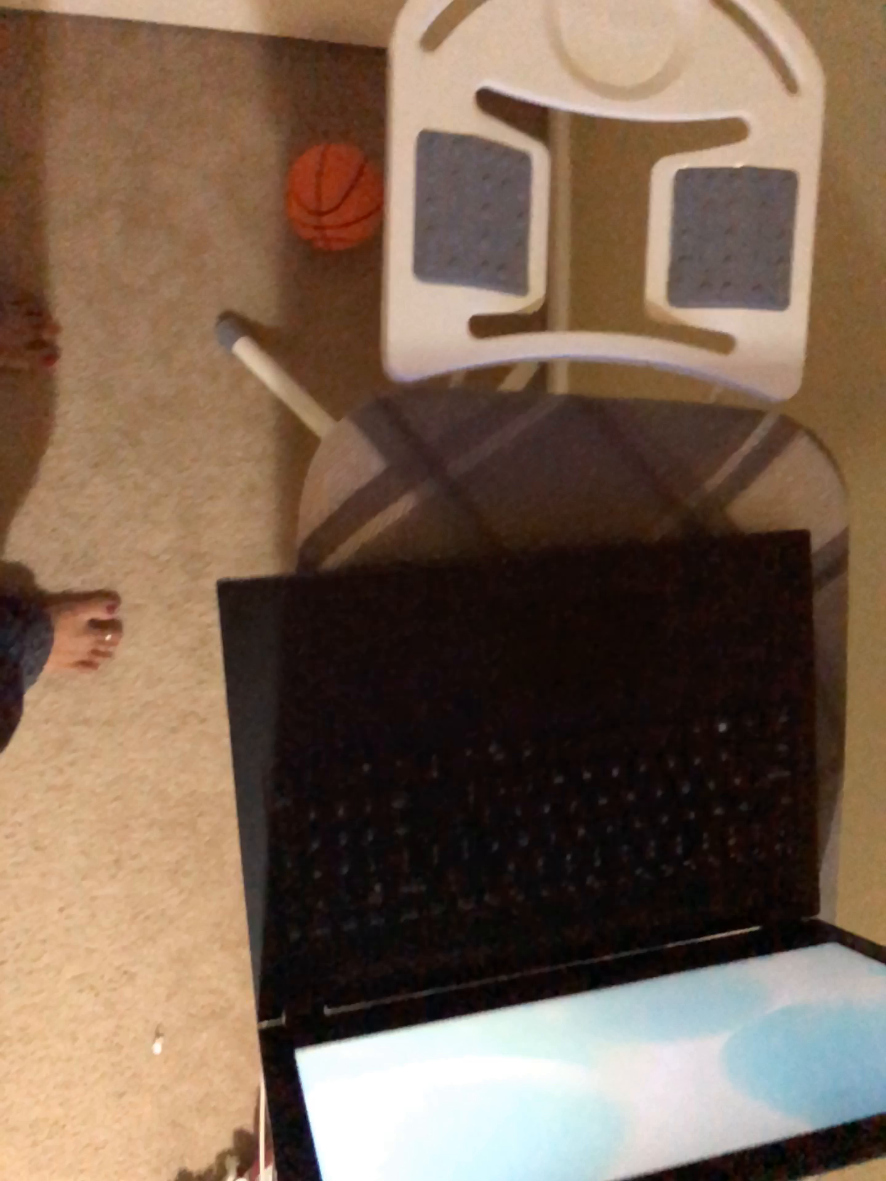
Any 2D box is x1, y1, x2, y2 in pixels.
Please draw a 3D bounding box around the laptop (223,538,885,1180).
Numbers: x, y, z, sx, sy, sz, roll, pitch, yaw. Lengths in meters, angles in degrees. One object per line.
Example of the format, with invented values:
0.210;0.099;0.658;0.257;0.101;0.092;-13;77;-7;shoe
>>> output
0.089;0.114;0.457;0.352;0.232;0.247;-5;95;-14;laptop
